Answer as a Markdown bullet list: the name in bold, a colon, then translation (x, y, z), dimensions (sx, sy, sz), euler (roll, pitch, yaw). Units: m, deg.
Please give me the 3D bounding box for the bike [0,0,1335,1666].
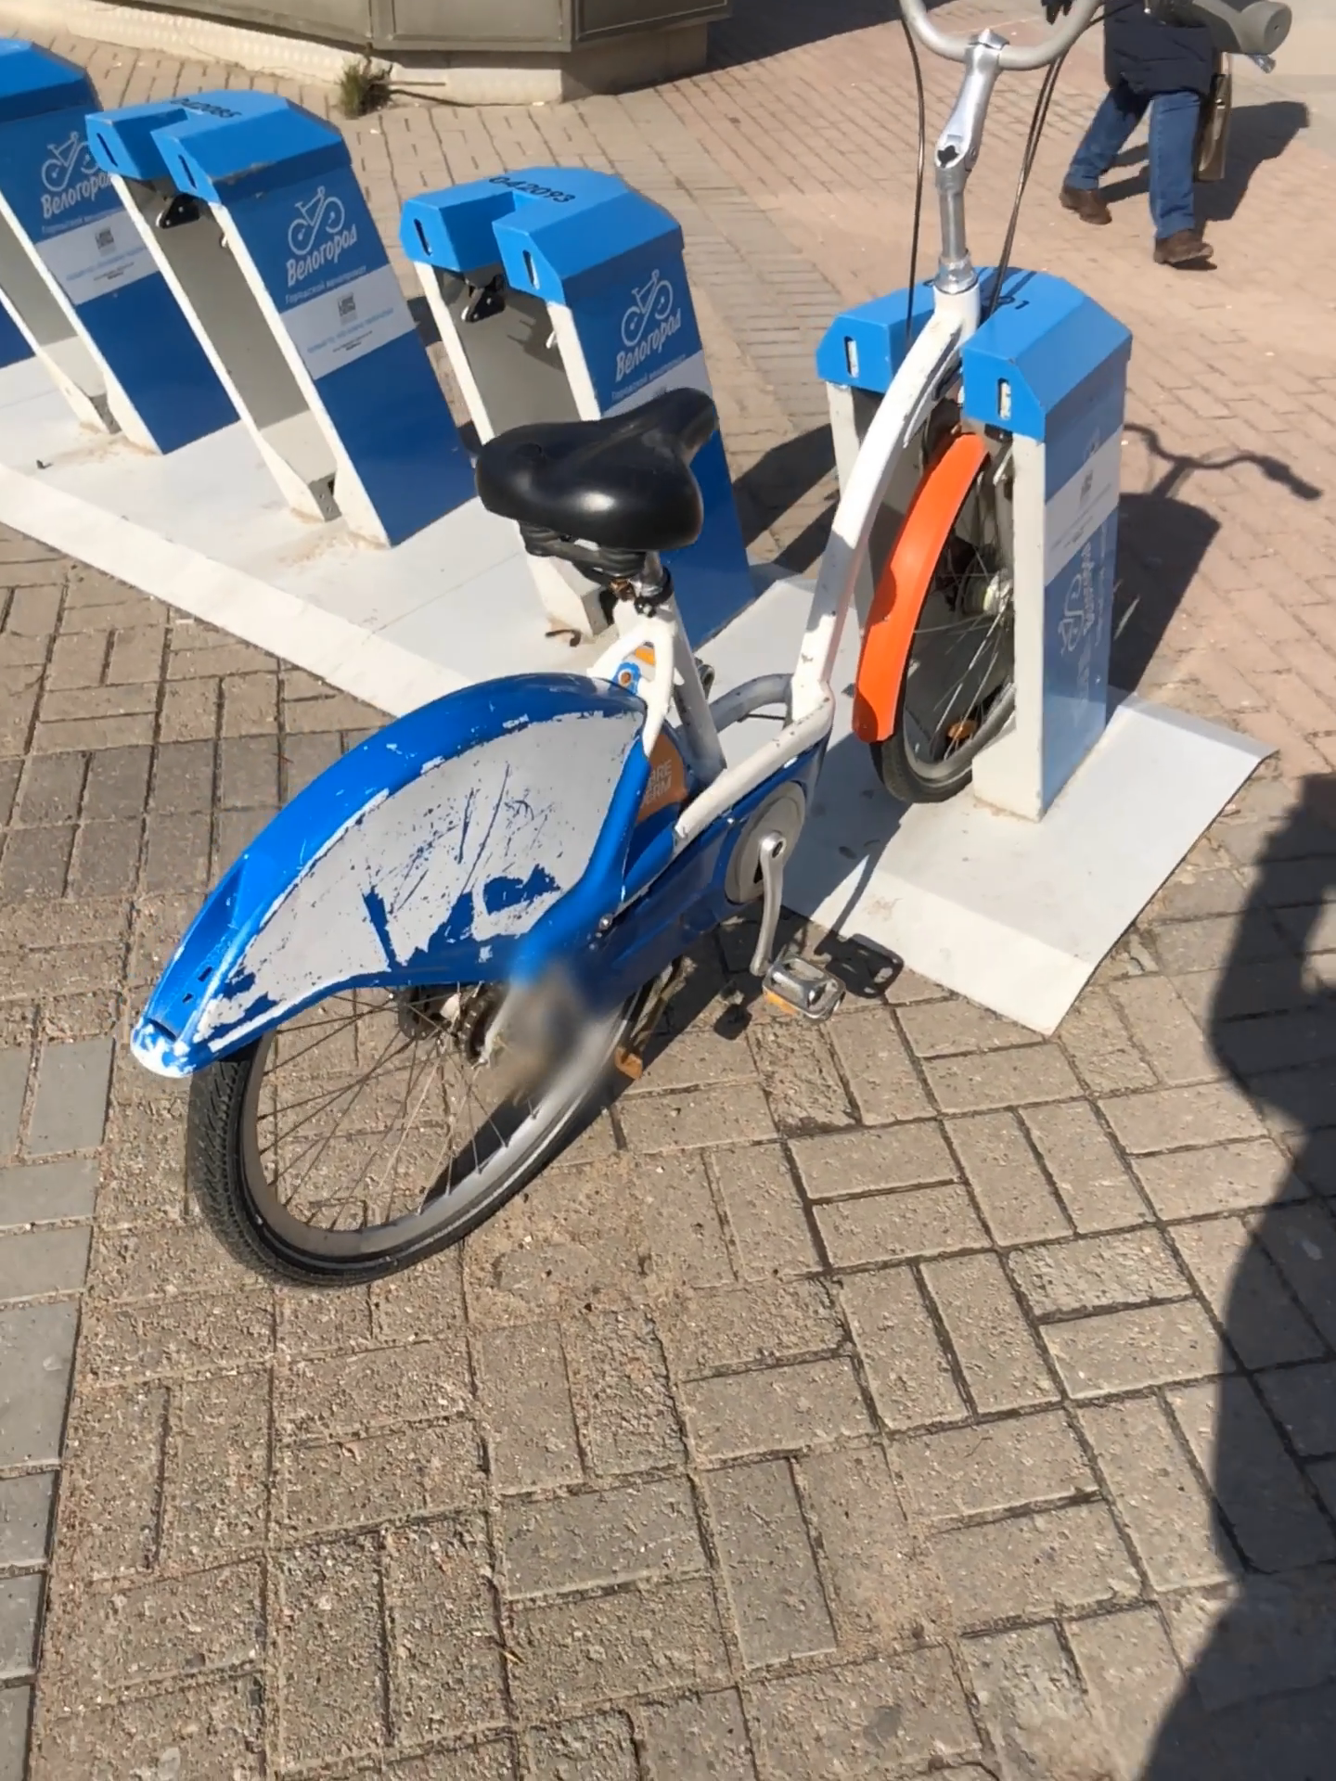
- **bike**: translation (0.137, -0.375, 1.594), dimensions (0.683, 1.233, 1.681), euler (27, 48, 28)
